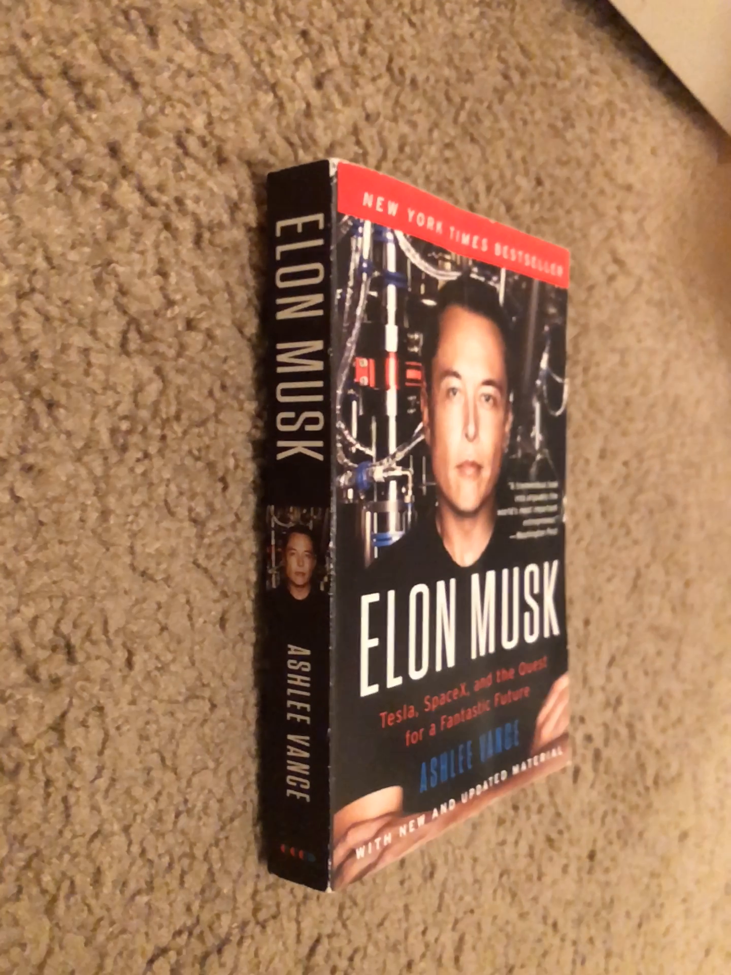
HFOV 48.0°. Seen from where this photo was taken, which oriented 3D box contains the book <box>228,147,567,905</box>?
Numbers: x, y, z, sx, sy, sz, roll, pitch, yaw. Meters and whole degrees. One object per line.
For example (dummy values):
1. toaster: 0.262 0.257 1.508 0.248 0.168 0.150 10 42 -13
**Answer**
1. book: 0.018 0.010 0.281 0.137 0.033 0.202 -2 93 -48
